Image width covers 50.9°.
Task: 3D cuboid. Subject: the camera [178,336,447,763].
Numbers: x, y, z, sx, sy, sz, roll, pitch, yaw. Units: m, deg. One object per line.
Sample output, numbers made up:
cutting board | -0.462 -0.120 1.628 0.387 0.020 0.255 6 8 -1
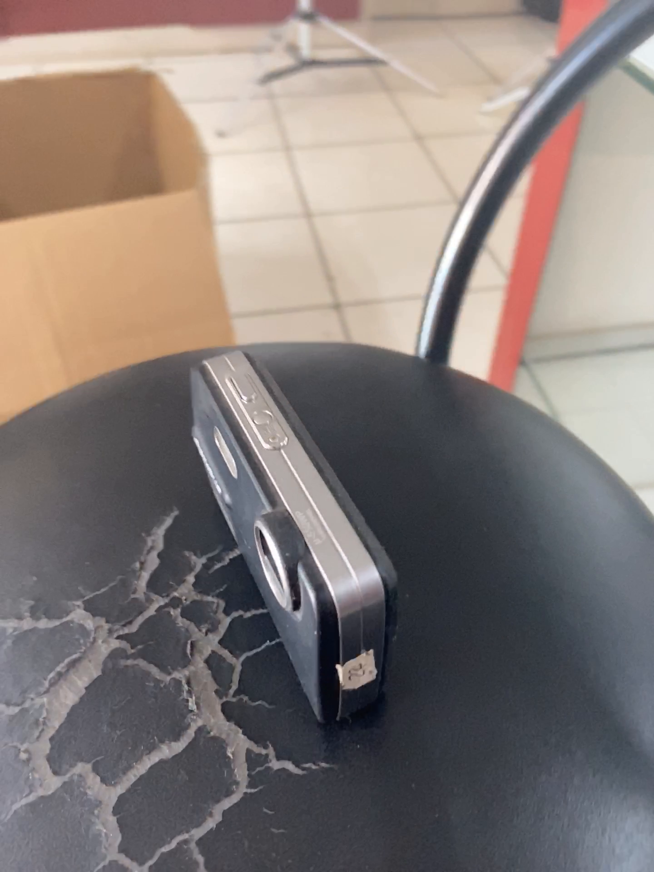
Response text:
camera | -0.009 0.027 0.194 0.030 0.060 0.100 -18 48 -17
